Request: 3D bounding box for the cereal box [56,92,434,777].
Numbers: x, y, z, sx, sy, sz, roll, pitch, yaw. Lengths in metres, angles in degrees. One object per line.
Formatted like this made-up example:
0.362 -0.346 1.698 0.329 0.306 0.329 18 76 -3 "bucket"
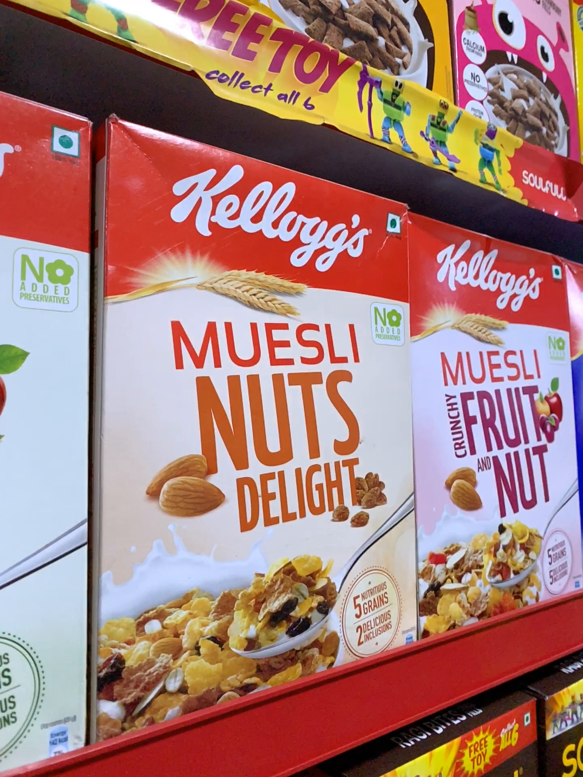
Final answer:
-0.015 0.017 0.294 0.170 0.251 0.060 3 -8 -38 "cereal box"
